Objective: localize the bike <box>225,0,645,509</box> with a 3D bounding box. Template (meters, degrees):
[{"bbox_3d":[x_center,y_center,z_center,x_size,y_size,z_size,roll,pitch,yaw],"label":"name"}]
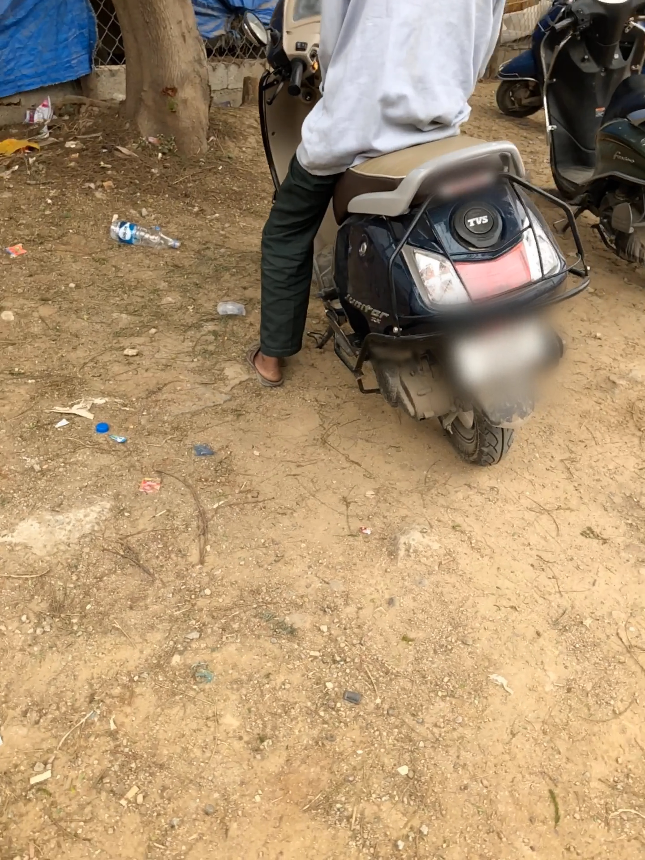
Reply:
[{"bbox_3d":[0.161,-0.793,1.945,0.635,1.119,1.349,-5,42,-14],"label":"bike"}]
